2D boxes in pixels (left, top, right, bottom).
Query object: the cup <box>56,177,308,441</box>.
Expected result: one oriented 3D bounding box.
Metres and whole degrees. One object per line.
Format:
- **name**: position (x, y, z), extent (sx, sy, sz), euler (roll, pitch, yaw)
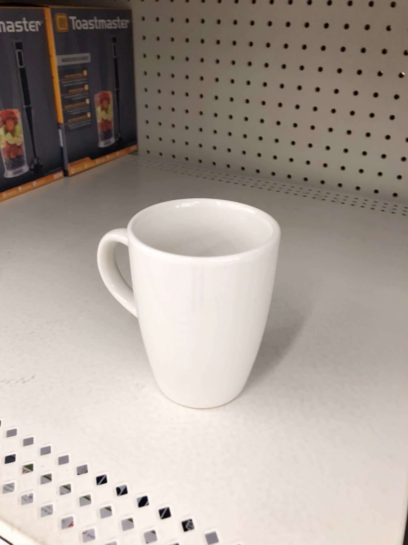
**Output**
- **cup**: position (-0.016, 0.013, 0.290), extent (0.126, 0.105, 0.081), euler (23, 36, 33)
